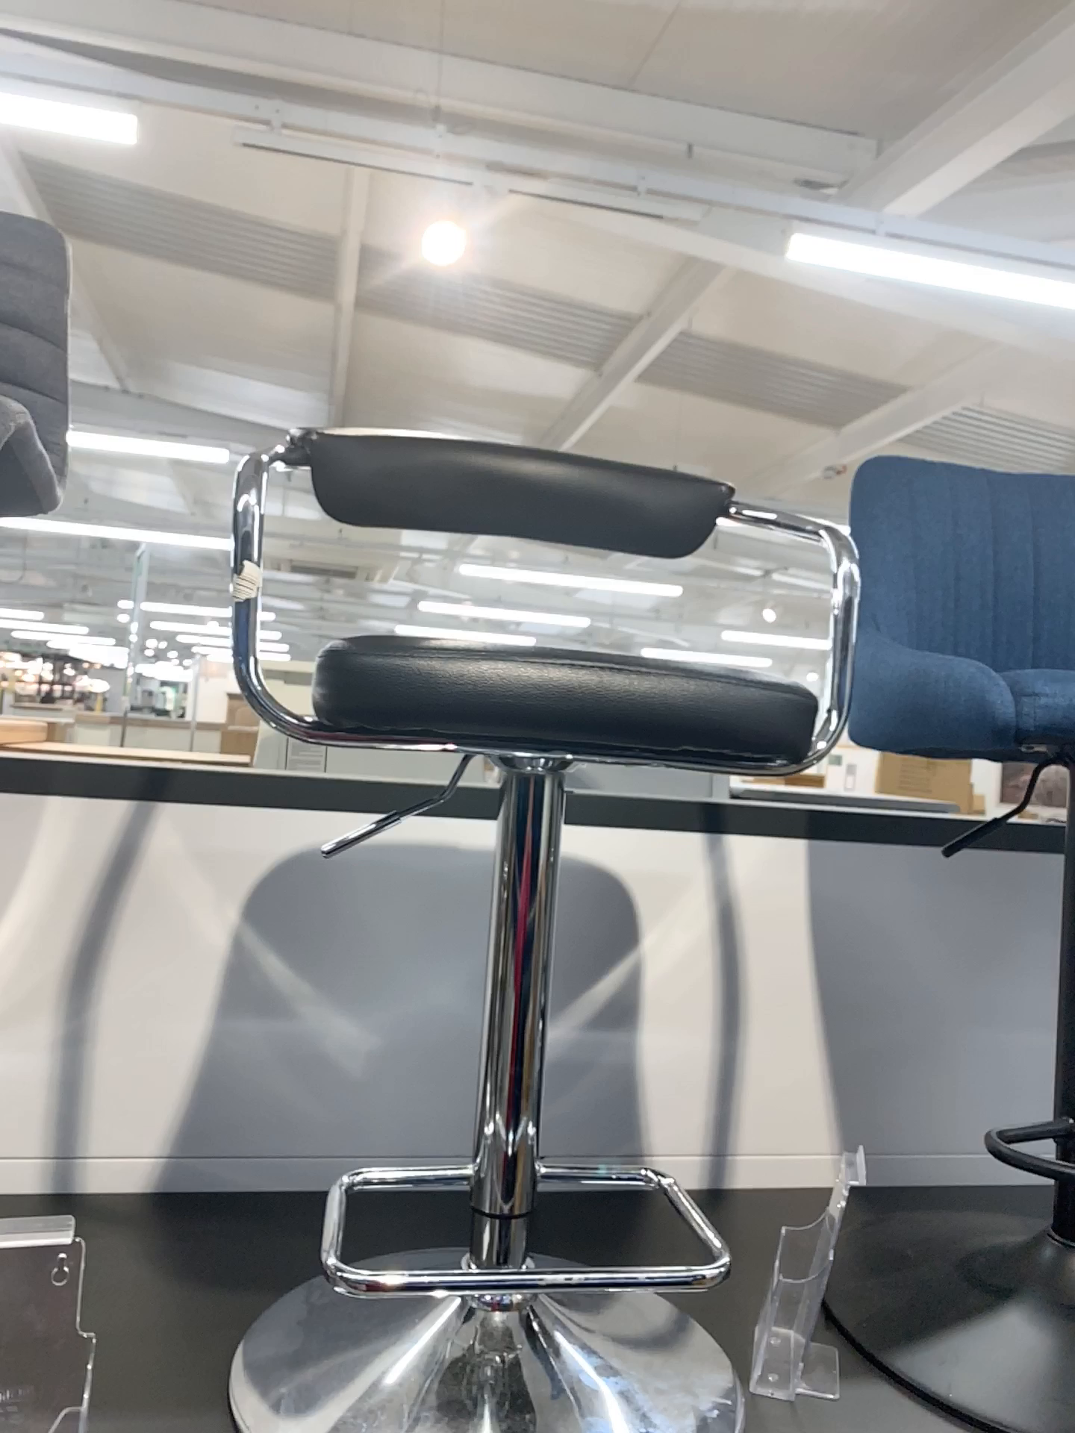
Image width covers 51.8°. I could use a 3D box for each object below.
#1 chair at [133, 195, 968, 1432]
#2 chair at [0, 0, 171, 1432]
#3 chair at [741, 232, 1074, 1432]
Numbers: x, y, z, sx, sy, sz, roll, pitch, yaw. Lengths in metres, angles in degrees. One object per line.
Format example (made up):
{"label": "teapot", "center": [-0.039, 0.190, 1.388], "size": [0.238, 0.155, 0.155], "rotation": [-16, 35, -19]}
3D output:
{"label": "chair", "center": [-0.020, 0.121, 0.960], "size": [0.511, 0.854, 0.466], "rotation": [5, -2, -15]}
{"label": "chair", "center": [-0.628, -0.021, 0.900], "size": [0.511, 1.065, 0.466], "rotation": [5, -3, -15]}
{"label": "chair", "center": [0.584, 0.130, 1.129], "size": [0.521, 0.954, 0.536], "rotation": [5, -2, -11]}
